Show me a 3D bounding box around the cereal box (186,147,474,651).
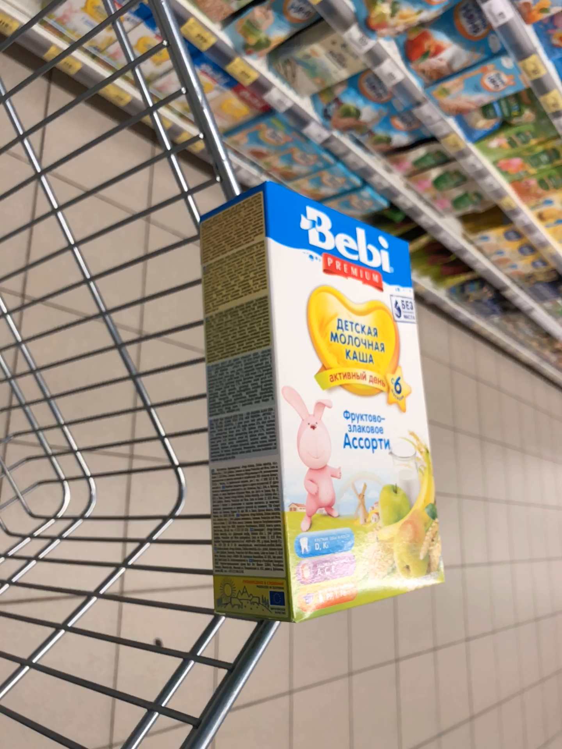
[{"bbox_3d":[0.029,0.013,0.328,0.151,0.050,0.210,8,74,-45],"label":"cereal box"}]
